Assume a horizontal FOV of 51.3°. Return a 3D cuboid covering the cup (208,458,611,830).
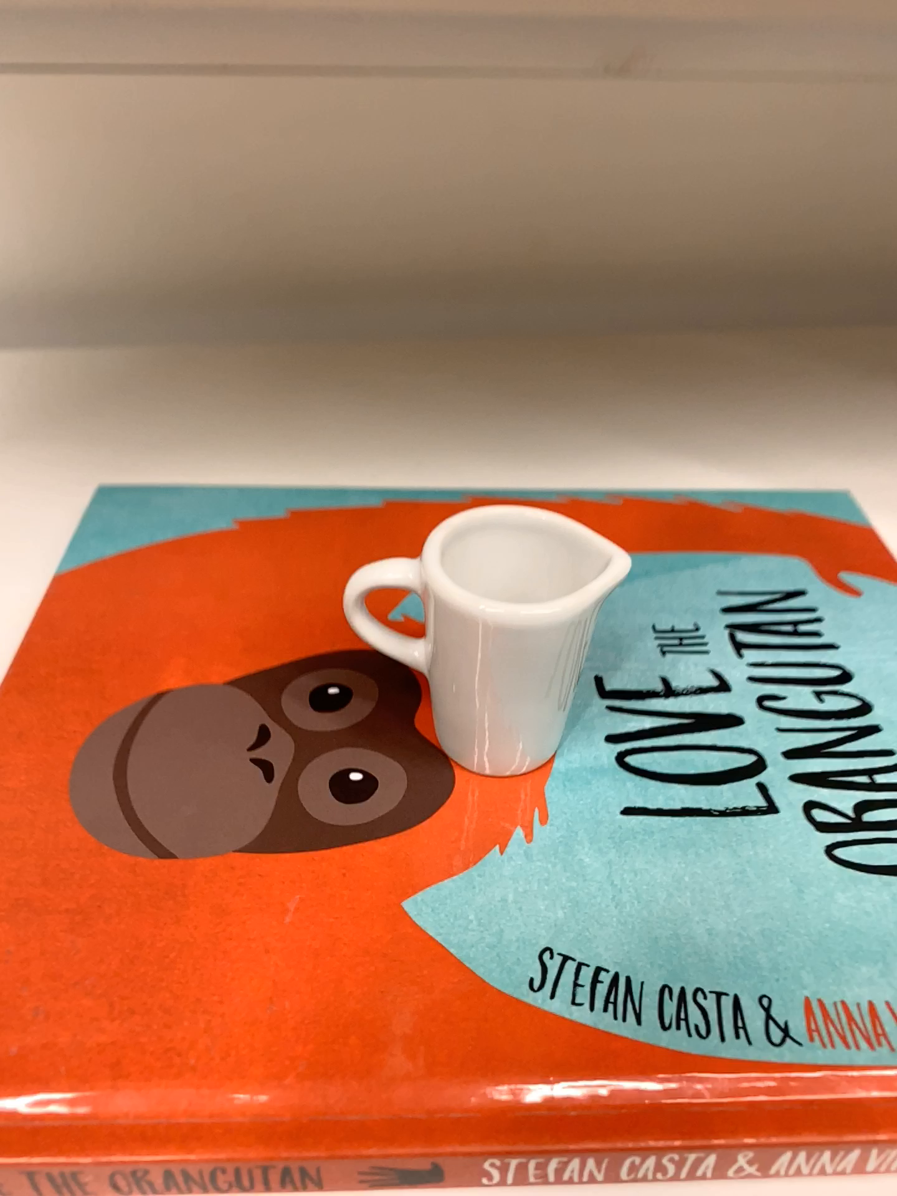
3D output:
[{"bbox_3d":[-0.005,0.008,0.195,0.070,0.050,0.050,6,37,5],"label":"cup"}]
